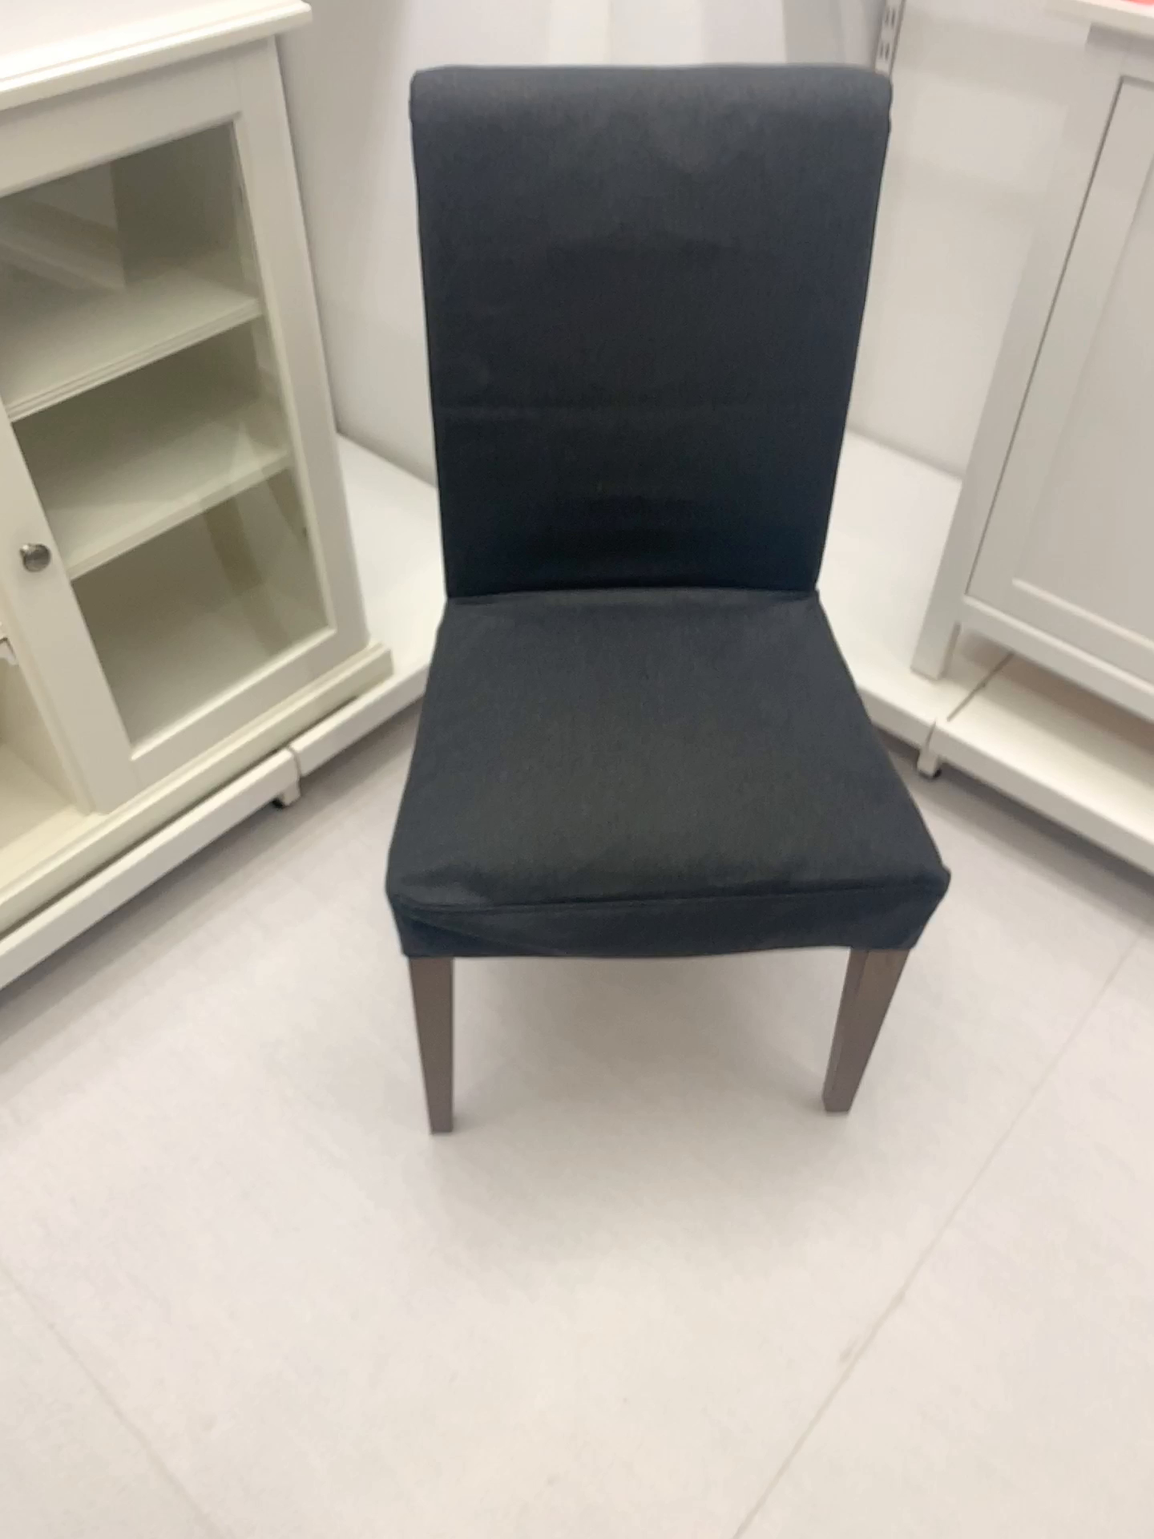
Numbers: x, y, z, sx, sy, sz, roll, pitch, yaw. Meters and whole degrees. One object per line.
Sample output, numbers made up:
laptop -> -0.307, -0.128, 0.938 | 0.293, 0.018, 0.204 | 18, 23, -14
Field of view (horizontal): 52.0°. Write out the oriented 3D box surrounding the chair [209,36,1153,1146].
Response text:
chair -> 0.058, -0.134, 1.133 | 0.540, 0.836, 0.613 | -2, 46, -3
